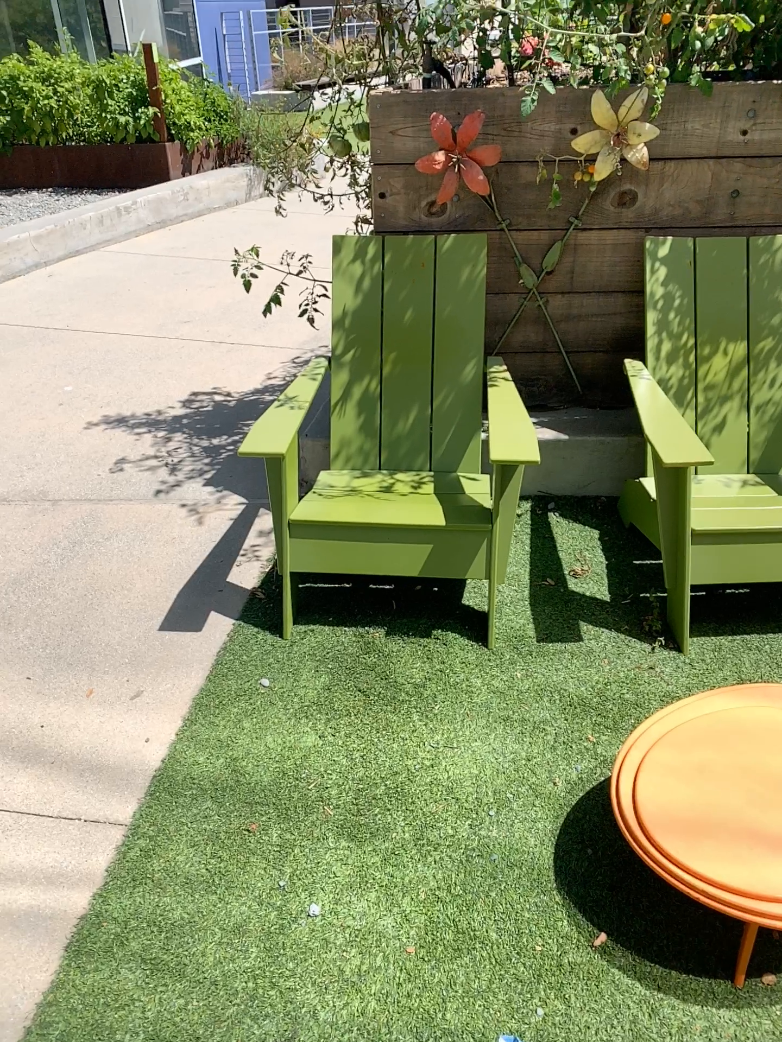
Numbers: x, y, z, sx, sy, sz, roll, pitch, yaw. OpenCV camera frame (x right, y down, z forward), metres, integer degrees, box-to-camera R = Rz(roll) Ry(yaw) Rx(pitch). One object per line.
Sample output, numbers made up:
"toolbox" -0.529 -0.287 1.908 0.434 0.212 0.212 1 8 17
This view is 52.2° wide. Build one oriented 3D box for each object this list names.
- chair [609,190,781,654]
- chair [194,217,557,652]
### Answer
"chair" 1.006 -0.298 2.150 0.680 0.986 0.893 -1 17 8
"chair" 0.016 -0.289 2.075 0.680 0.835 0.905 2 27 6
